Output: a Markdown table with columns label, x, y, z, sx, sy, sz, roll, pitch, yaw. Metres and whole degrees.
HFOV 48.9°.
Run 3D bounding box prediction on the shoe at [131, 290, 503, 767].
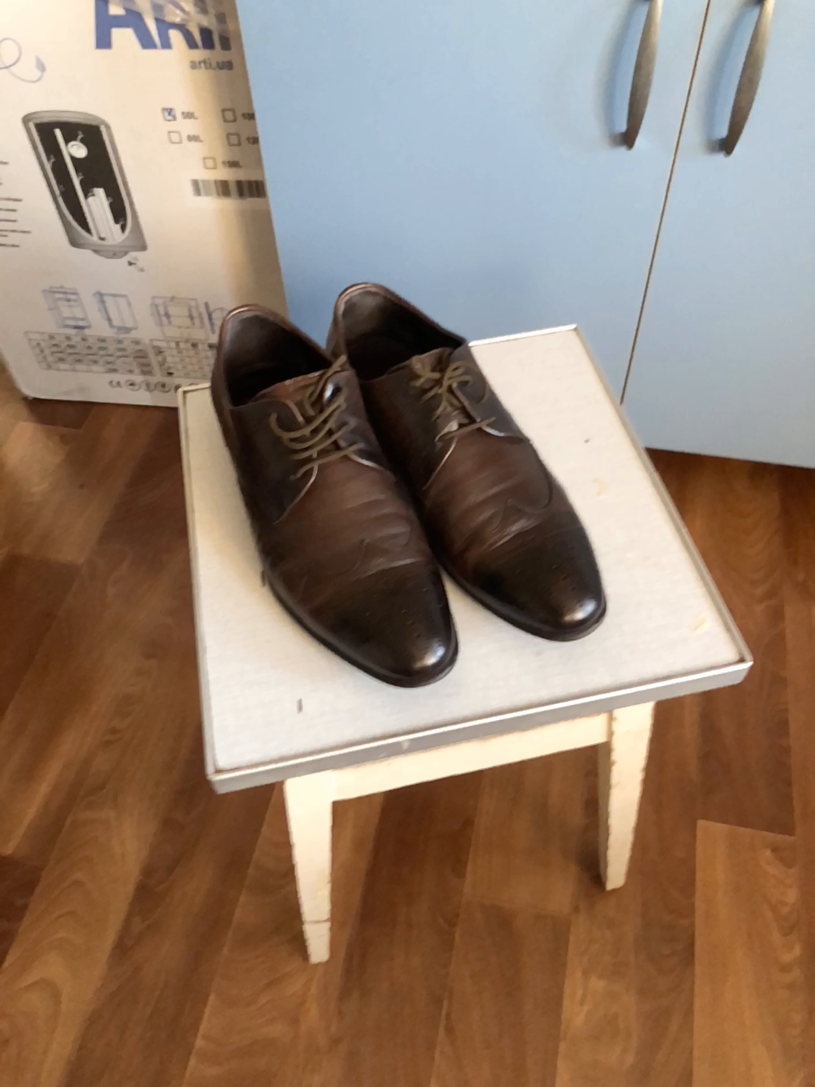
| label | x | y | z | sx | sy | sz | roll | pitch | yaw |
| --- | --- | --- | --- | --- | --- | --- | --- | --- | --- |
| shoe | -0.065 | -0.024 | 0.558 | 0.100 | 0.099 | 0.291 | -24 | 55 | -16 |

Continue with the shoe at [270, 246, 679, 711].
| label | x | y | z | sx | sy | sz | roll | pitch | yaw |
| --- | --- | --- | --- | --- | --- | --- | --- | --- | --- |
| shoe | 0.026 | -0.055 | 0.562 | 0.100 | 0.099 | 0.291 | -24 | 55 | -16 |
